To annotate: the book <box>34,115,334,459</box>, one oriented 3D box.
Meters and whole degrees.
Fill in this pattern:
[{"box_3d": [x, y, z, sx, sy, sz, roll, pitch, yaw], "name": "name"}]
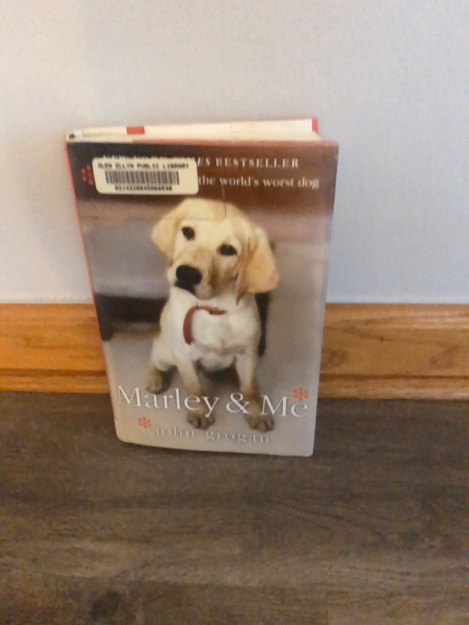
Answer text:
[{"box_3d": [-0.020, -0.004, 0.330, 0.151, 0.219, 0.040, 1, 31, 6], "name": "book"}]
